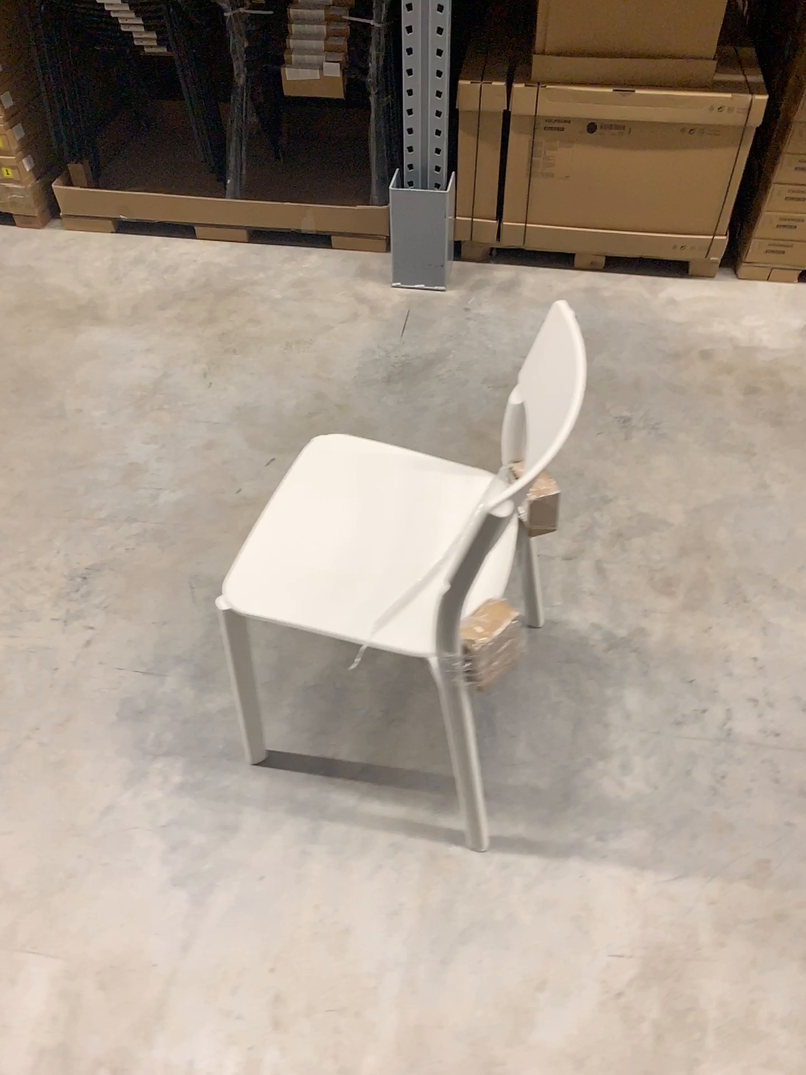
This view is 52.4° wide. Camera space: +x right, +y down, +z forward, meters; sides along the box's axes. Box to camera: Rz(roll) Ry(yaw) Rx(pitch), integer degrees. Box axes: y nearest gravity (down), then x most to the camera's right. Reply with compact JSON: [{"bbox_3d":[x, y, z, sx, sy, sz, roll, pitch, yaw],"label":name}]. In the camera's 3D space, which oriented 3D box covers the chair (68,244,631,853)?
[{"bbox_3d":[-0.019,0.019,1.198,0.530,0.618,0.522,11,49,11],"label":"chair"}]
